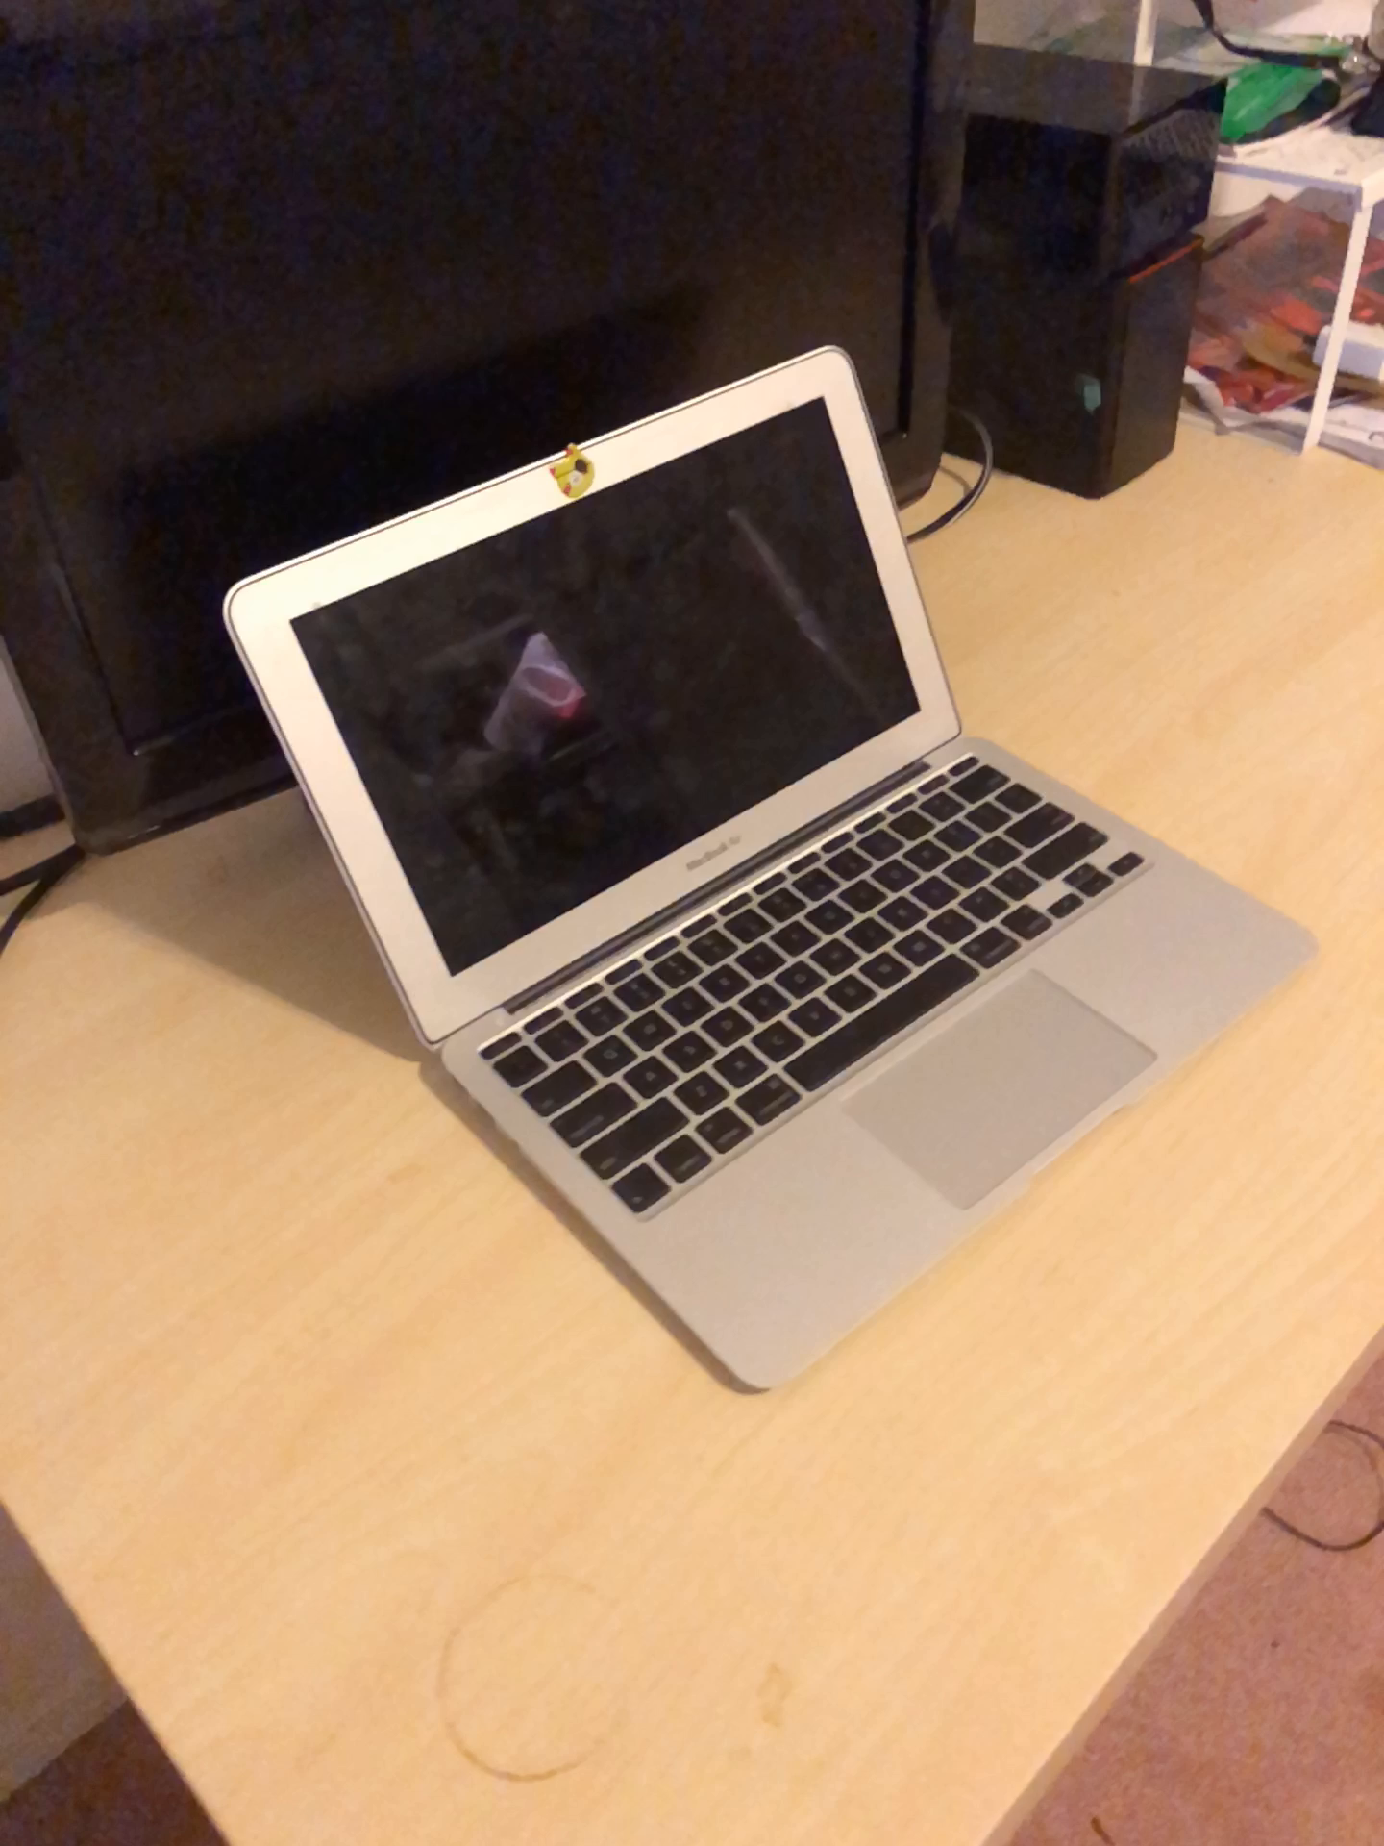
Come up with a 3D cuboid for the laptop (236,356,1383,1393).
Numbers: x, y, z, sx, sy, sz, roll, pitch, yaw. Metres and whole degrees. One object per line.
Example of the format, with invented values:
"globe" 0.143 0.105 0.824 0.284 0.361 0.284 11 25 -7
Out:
"laptop" 0.043 -0.050 0.564 0.290 0.160 0.276 -31 49 -26
